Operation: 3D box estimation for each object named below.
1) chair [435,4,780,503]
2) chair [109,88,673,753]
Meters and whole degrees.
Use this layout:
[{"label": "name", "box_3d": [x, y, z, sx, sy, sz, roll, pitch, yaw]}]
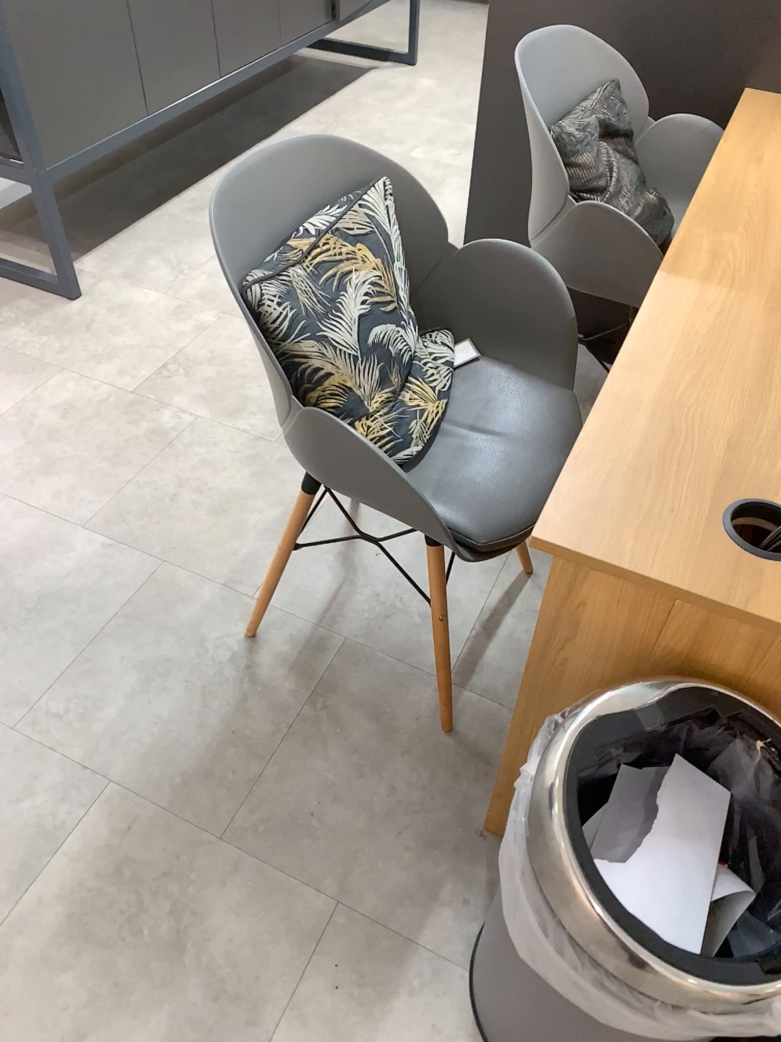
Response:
[{"label": "chair", "box_3d": [0.502, -0.606, 1.814, 0.547, 0.808, 0.592, 22, 49, 18]}, {"label": "chair", "box_3d": [0.026, -0.165, 1.357, 0.547, 0.808, 0.602, 22, 49, 18]}]
